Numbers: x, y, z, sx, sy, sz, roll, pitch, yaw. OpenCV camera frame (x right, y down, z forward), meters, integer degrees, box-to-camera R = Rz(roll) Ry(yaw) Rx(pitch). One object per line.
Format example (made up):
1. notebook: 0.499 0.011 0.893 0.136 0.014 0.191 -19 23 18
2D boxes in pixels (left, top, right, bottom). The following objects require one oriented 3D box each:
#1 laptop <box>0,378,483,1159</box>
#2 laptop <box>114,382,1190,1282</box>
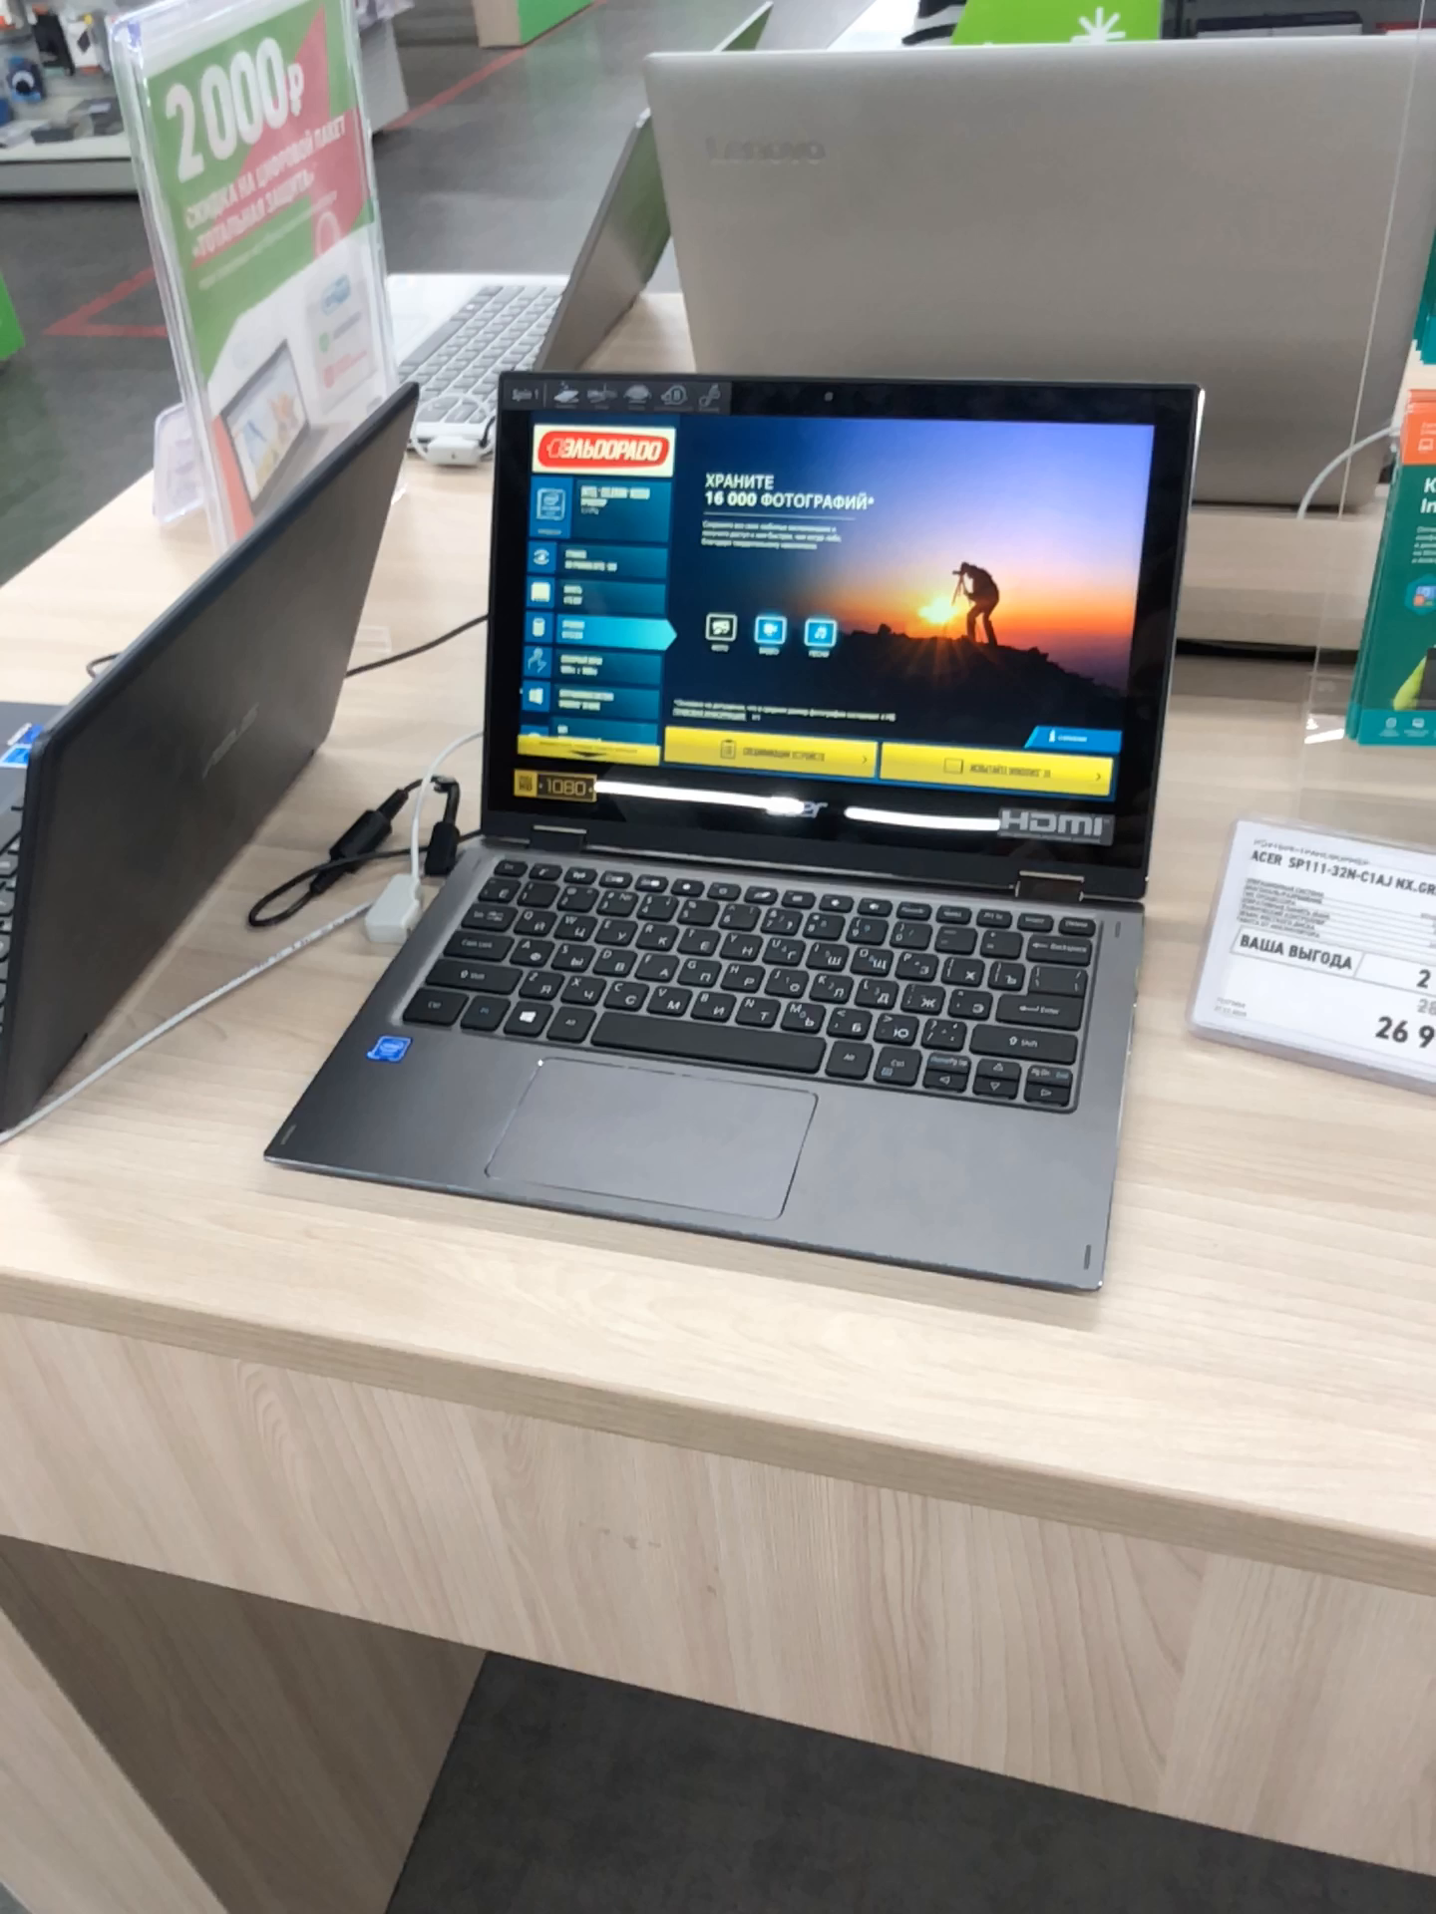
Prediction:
1. laptop: -0.294 -0.097 0.646 0.287 0.174 0.276 6 40 14
2. laptop: 0.011 -0.074 0.586 0.287 0.168 0.304 6 40 15
